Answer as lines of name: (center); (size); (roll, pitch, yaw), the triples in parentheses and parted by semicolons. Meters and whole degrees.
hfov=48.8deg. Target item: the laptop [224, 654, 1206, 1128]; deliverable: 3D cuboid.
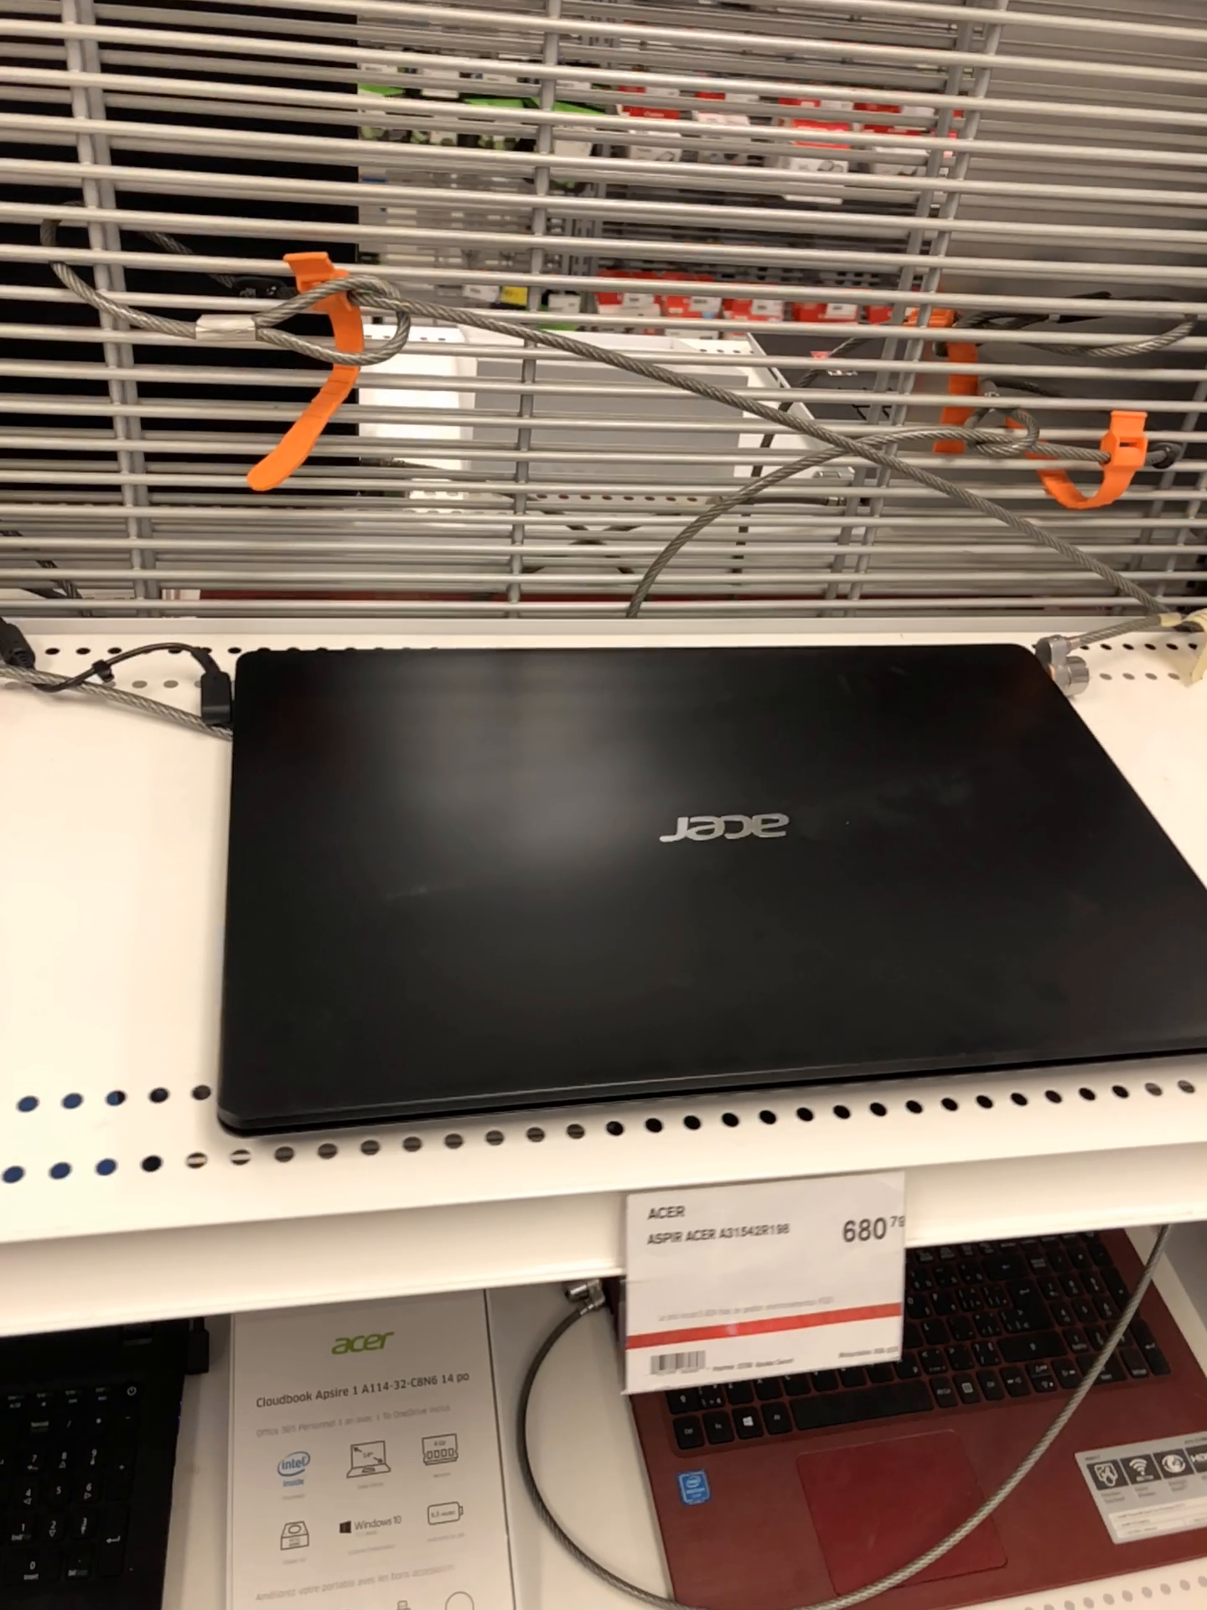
laptop: (0.043, 0.011, 0.510); (0.354, 0.006, 0.232); (-2, 40, -13)
